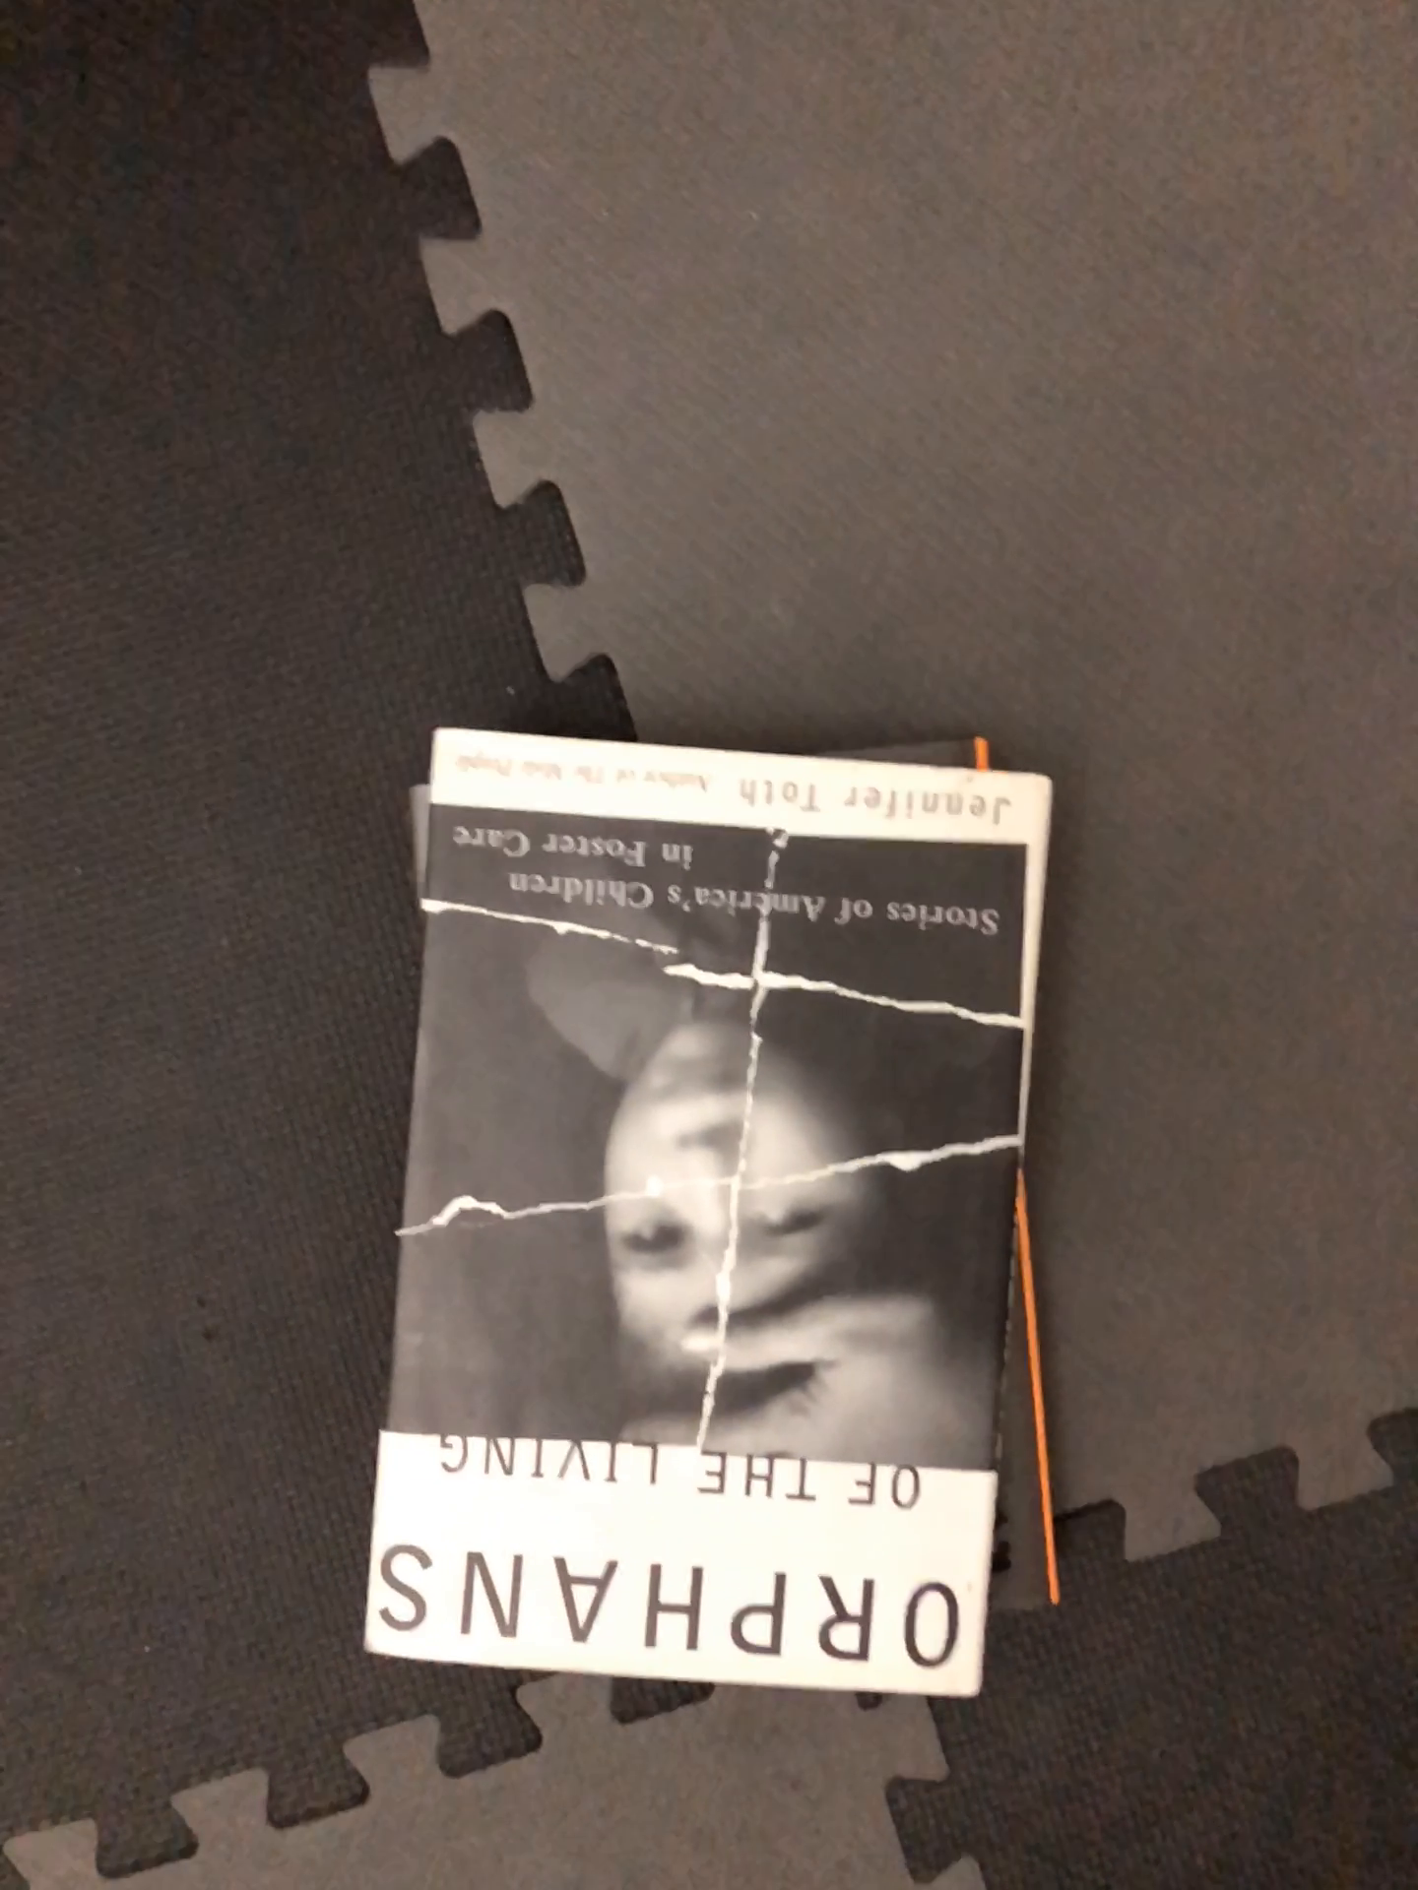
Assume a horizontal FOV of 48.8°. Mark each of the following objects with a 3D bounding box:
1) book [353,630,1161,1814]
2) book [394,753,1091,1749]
[{"bbox_3d":[0.012,0.068,0.402,0.180,0.030,0.280,4,90,1],"label":"book"},{"bbox_3d":[0.009,0.082,0.432,0.160,0.030,0.250,-6,90,1],"label":"book"}]
